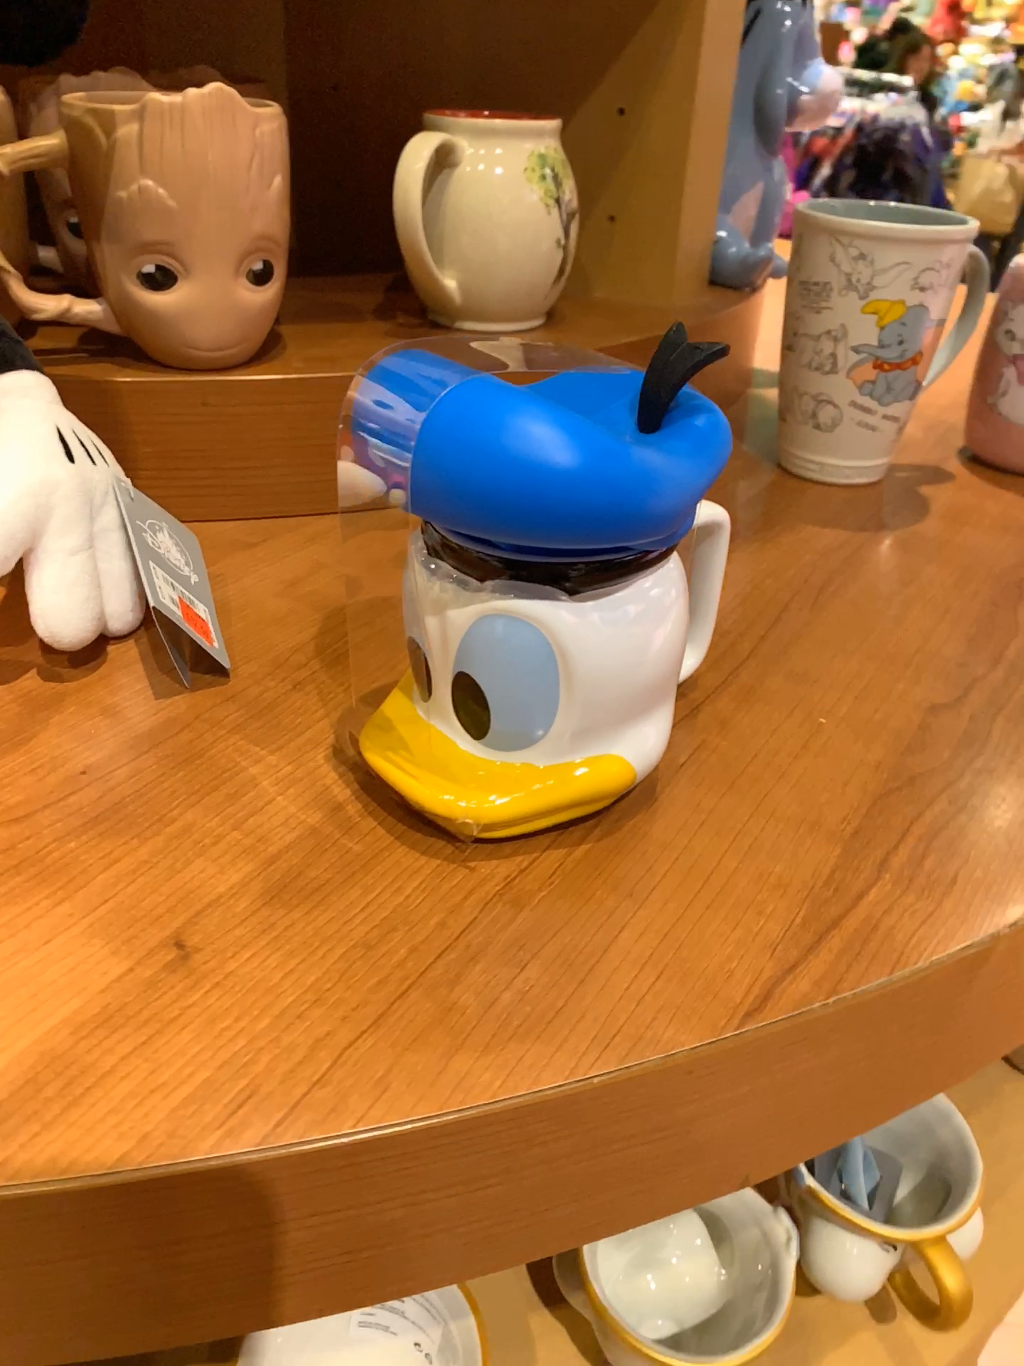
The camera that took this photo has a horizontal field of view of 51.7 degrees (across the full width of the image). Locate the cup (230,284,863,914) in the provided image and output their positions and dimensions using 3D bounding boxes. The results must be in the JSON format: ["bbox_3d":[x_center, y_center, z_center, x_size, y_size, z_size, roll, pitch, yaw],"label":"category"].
[{"bbox_3d":[0.011,-0.038,0.341,0.150,0.132,0.106,-24,41,-31],"label":"cup"}]
